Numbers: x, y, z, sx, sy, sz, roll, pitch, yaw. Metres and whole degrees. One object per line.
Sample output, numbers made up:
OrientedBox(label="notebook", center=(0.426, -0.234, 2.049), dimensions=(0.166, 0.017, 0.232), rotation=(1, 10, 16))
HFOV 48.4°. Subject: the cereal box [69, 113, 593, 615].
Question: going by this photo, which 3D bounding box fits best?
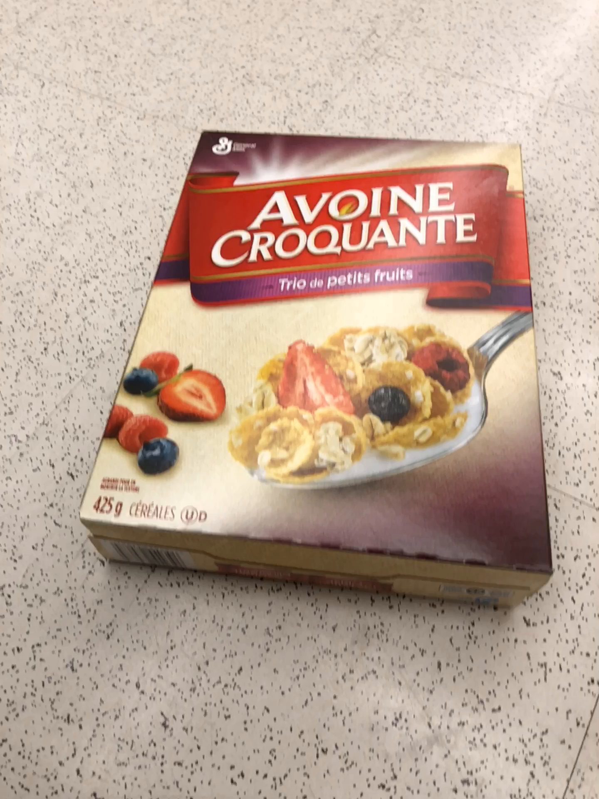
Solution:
OrientedBox(label="cereal box", center=(0.027, -0.040, 0.362), dimensions=(0.210, 0.060, 0.270), rotation=(5, 58, 6))
